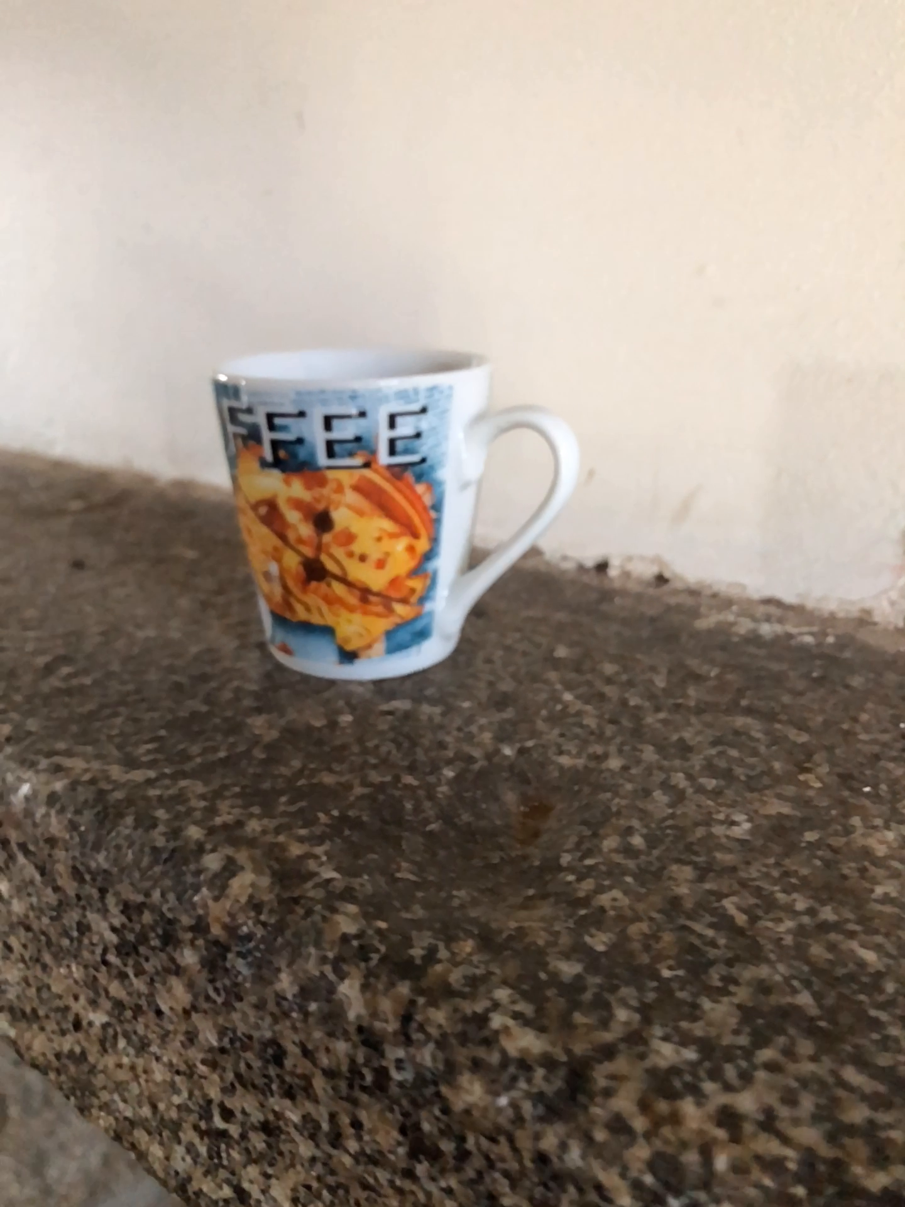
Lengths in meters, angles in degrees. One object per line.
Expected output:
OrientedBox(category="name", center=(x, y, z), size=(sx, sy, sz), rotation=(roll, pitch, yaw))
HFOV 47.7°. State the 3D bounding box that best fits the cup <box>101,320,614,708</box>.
OrientedBox(category="cup", center=(-0.014, -0.024, 0.207), size=(0.080, 0.060, 0.060), rotation=(6, 20, 22))
